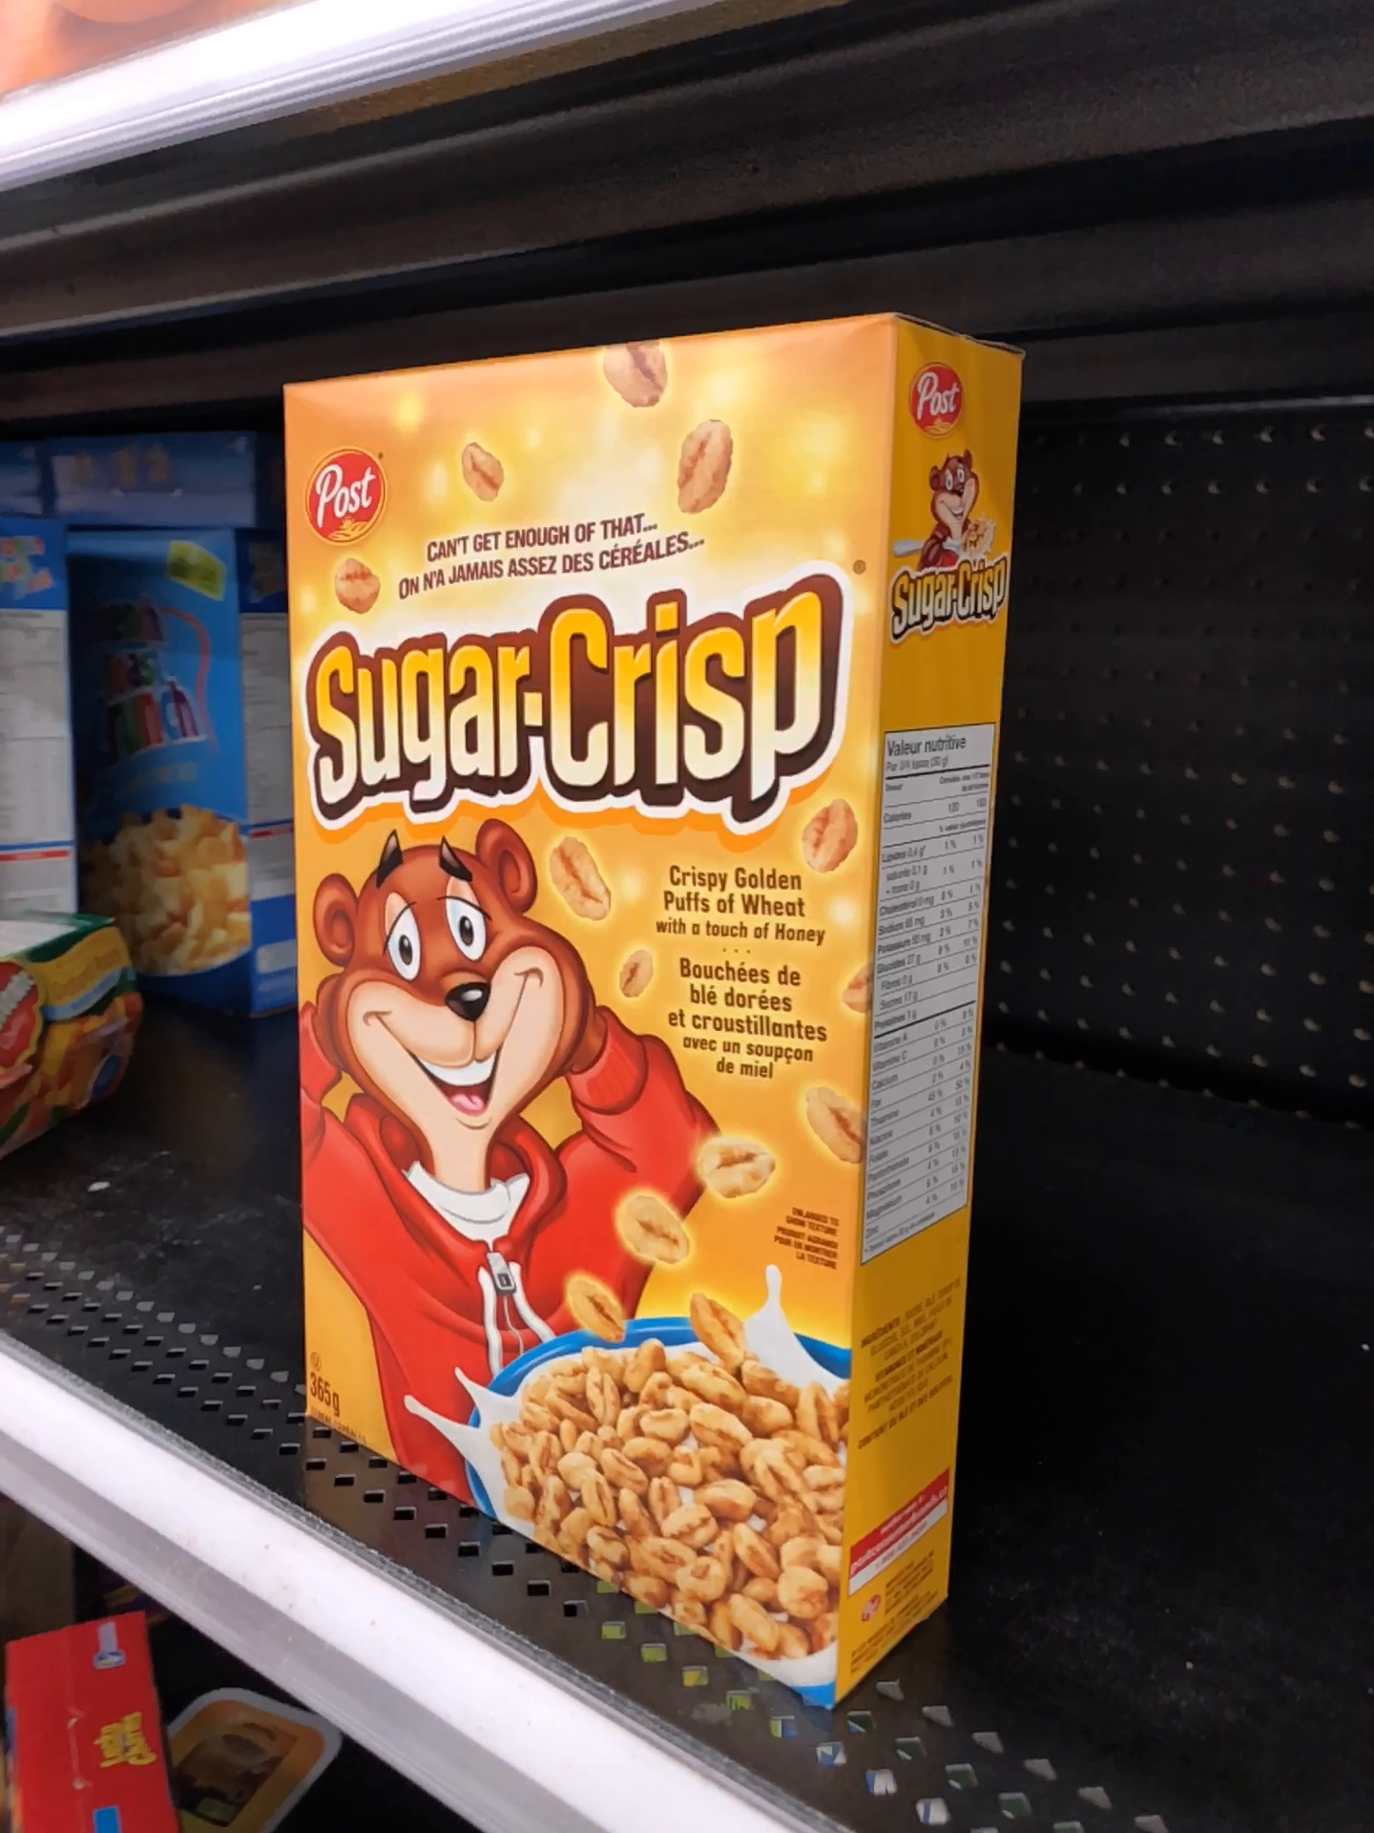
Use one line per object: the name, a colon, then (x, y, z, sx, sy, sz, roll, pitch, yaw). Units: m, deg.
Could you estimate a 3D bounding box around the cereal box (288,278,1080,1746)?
cereal box: (-0.015, 0.014, 0.396, 0.200, 0.309, 0.060, 10, 14, 39)
